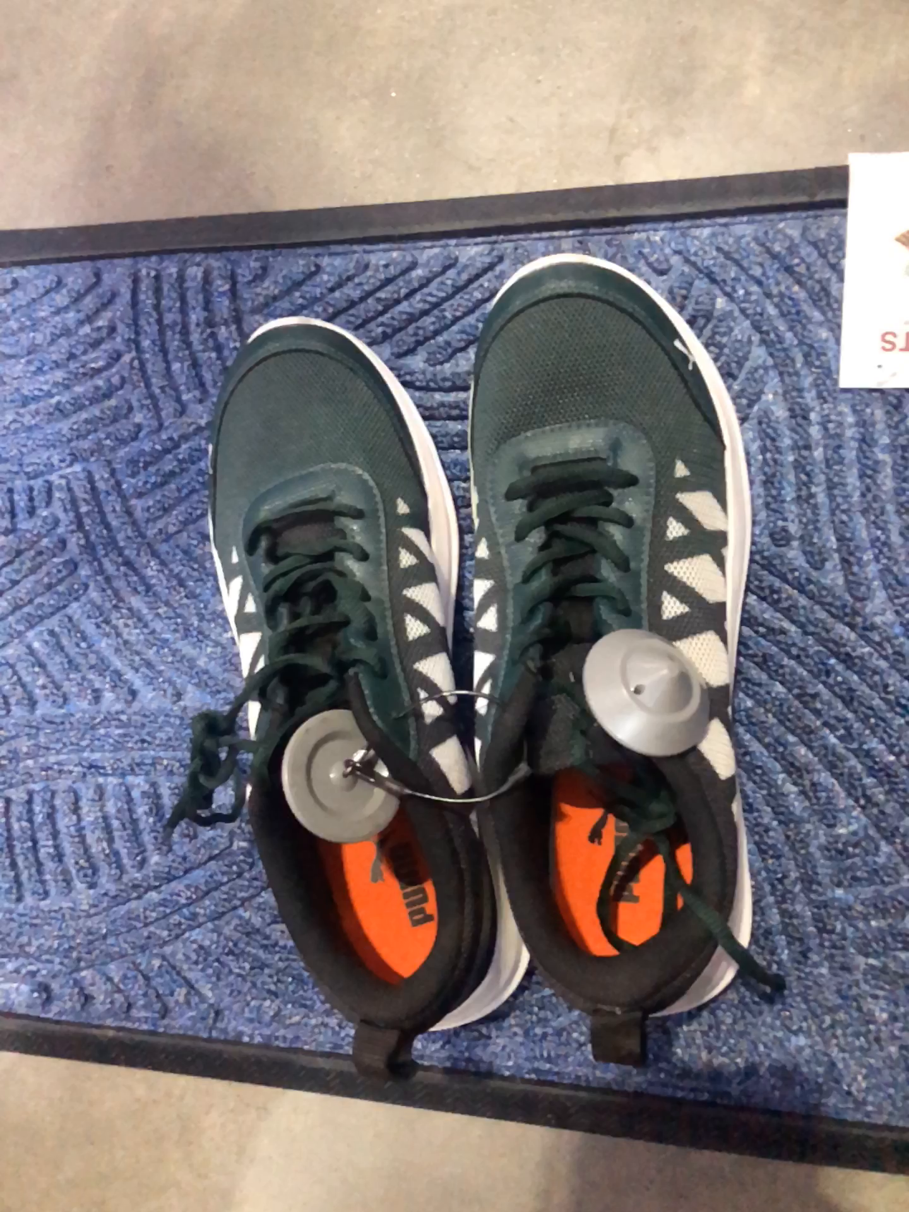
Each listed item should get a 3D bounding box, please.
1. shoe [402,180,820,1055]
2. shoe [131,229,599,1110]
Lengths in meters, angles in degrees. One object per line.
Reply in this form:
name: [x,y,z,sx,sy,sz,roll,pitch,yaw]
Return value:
shoe: [0.055,0.005,0.373,0.120,0.060,0.290,-5,84,13]
shoe: [-0.037,0.022,0.402,0.110,0.060,0.310,-15,82,12]
